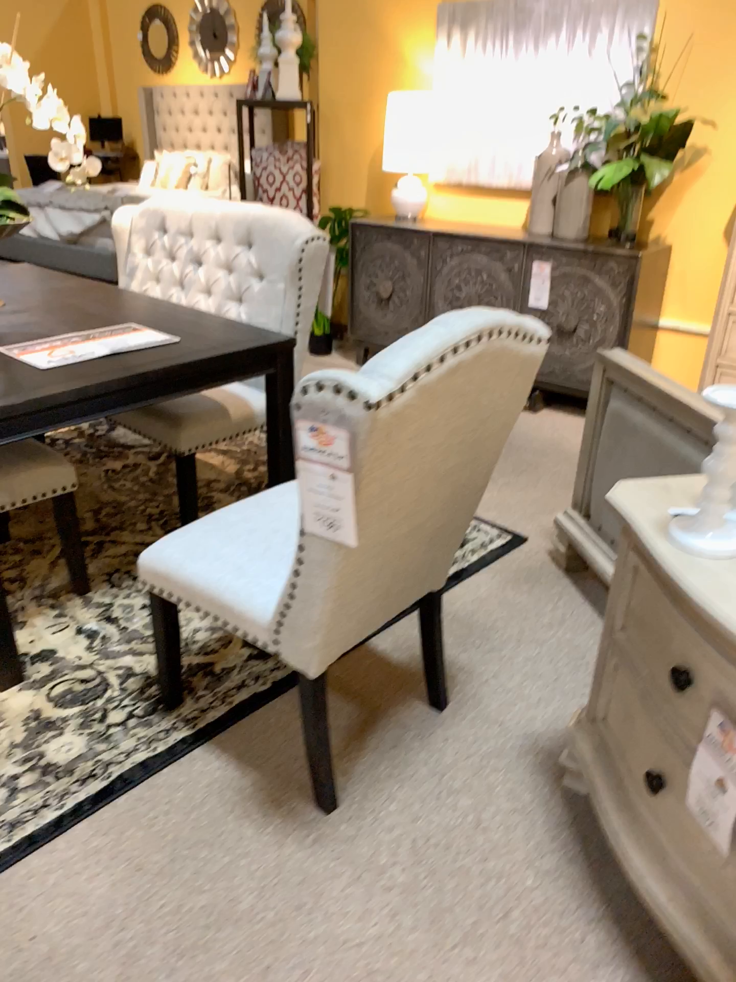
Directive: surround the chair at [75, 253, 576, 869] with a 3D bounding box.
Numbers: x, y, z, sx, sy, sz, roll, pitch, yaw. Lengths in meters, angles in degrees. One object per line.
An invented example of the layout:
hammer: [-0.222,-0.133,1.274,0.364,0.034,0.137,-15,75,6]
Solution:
chair: [-0.095,0.063,1.631,0.743,0.973,0.588,21,32,36]
